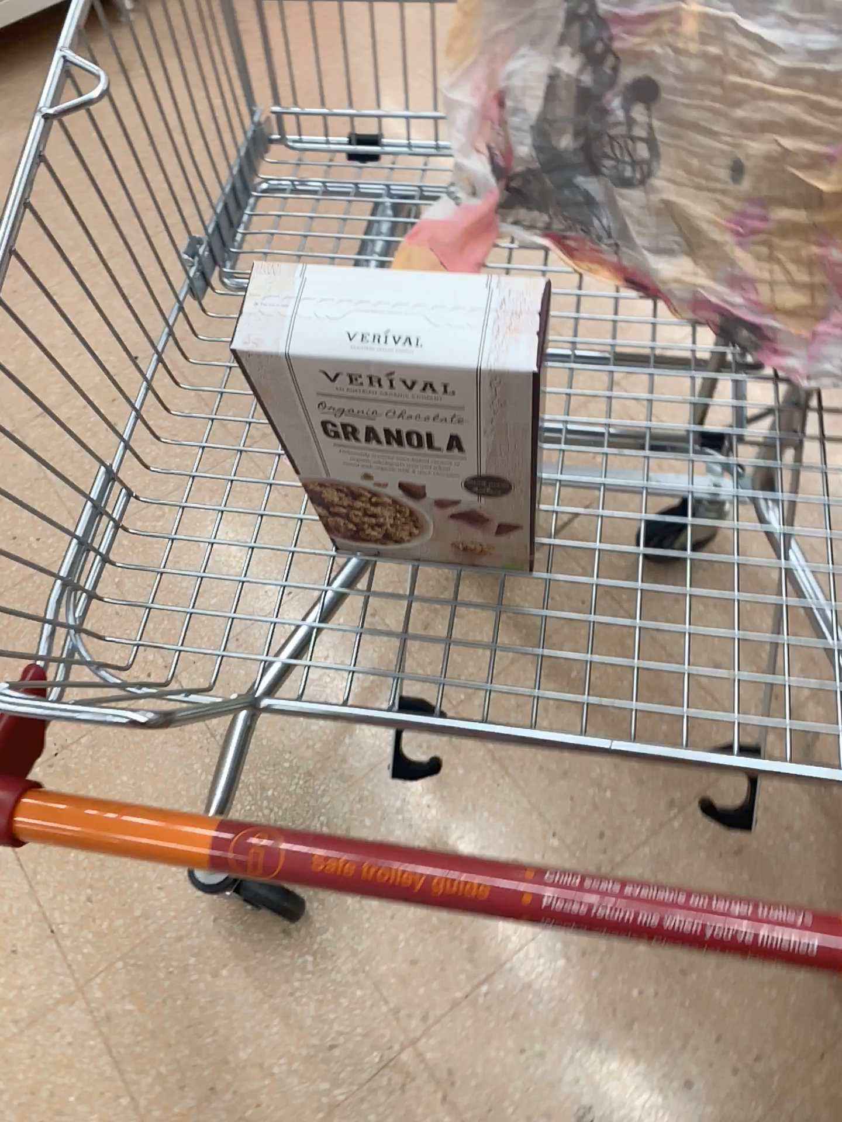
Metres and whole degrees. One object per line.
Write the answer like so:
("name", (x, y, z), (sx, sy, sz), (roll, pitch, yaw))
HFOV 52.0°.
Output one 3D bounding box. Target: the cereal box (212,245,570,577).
("cereal box", (-0.004, -0.063, 0.452), (0.140, 0.219, 0.050), (7, 69, 8))
